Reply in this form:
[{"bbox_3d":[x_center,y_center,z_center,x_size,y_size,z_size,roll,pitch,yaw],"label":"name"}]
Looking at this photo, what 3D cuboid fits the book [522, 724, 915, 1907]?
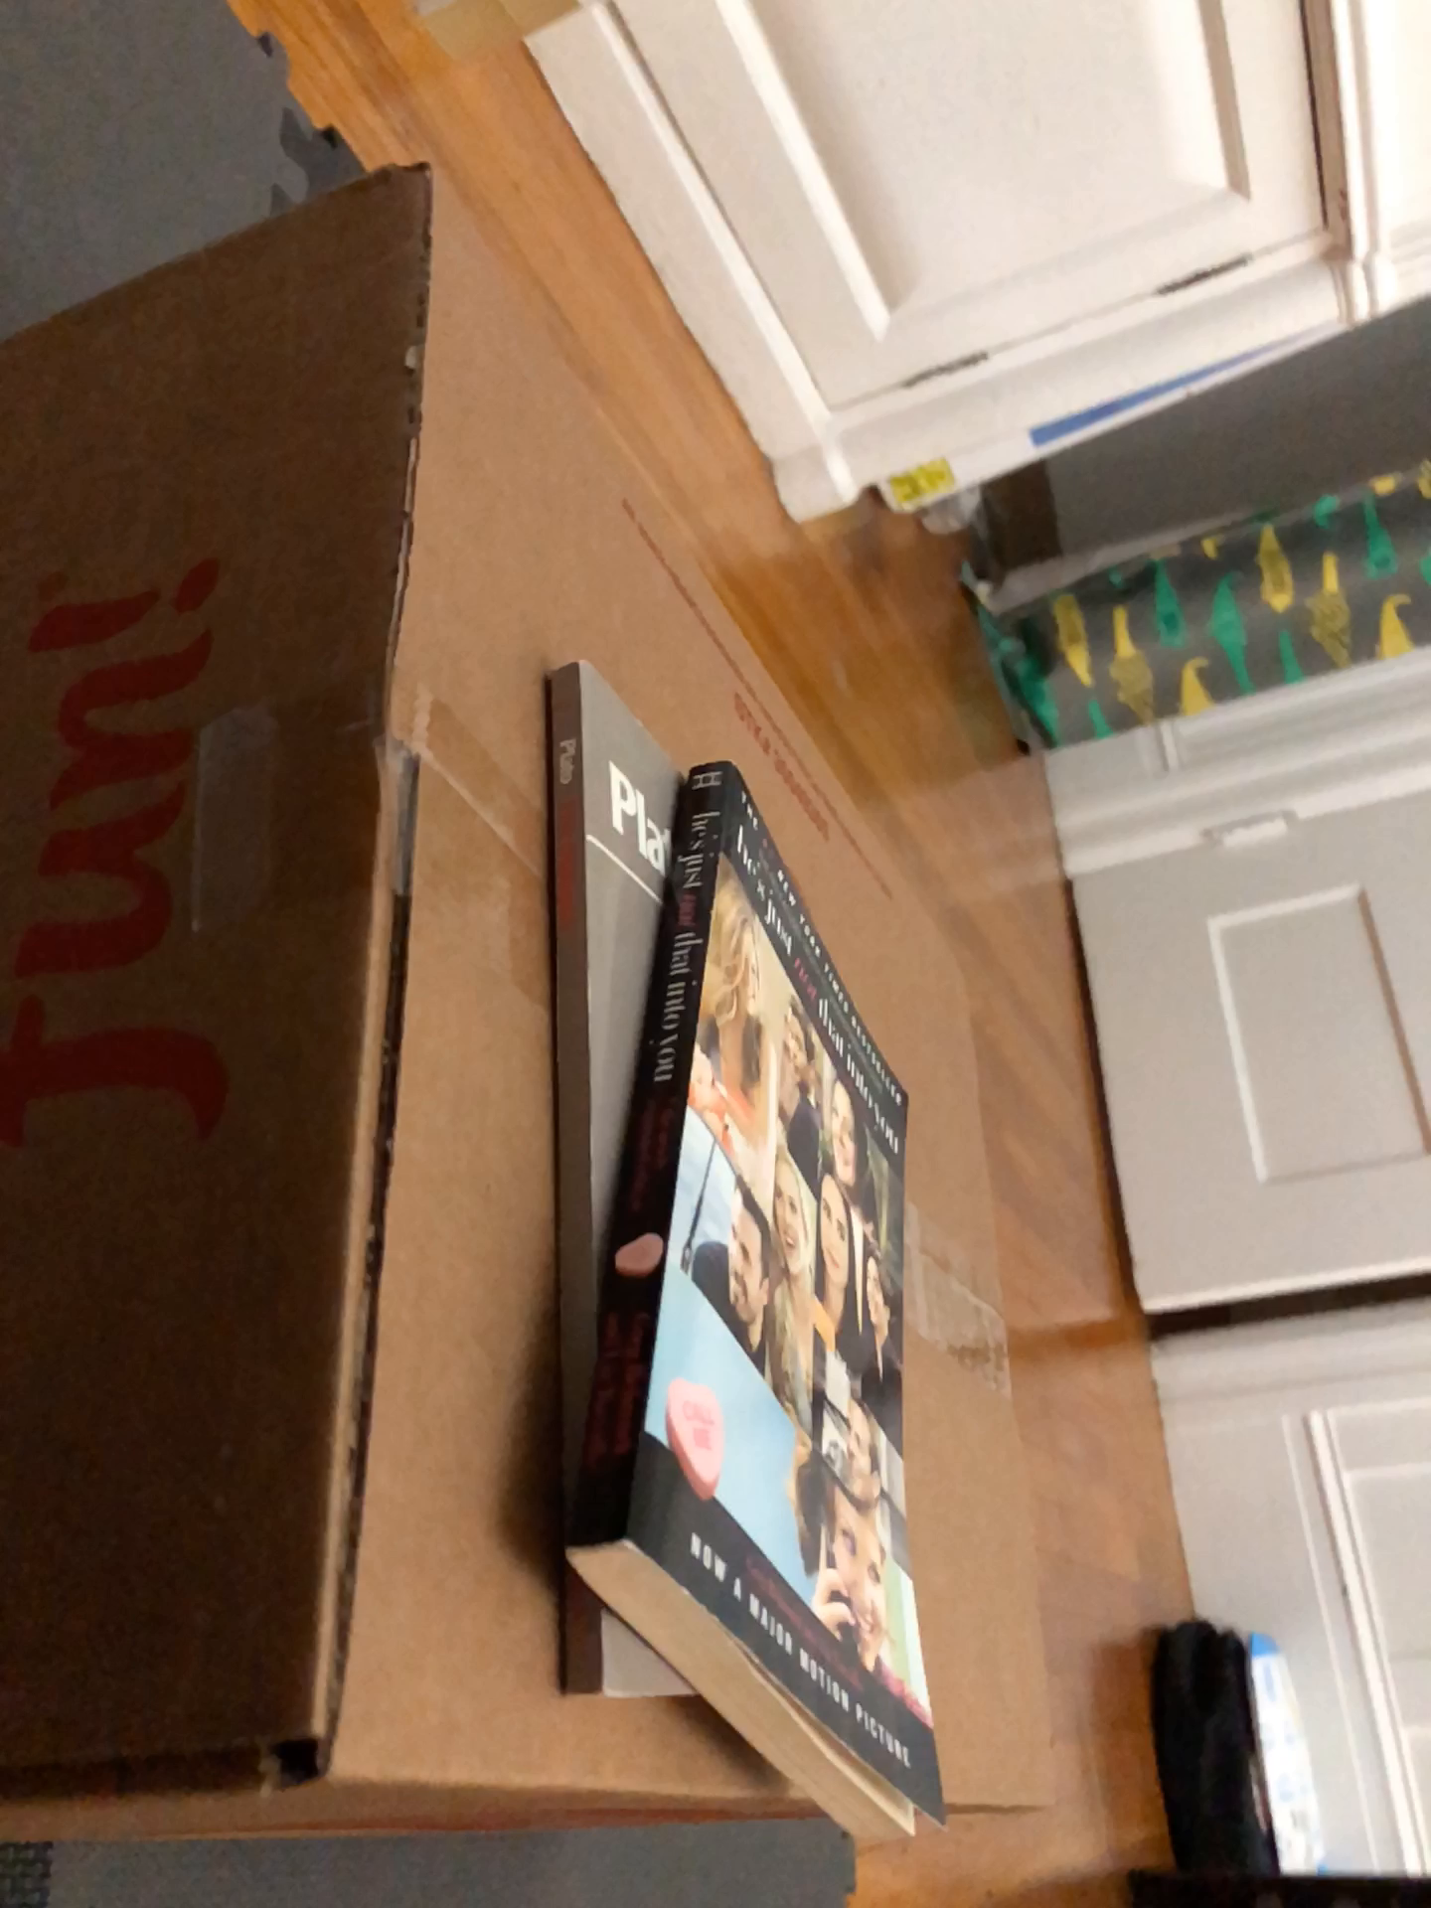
[{"bbox_3d":[0.016,0.076,0.358,0.231,0.010,0.150,-83,152,-44],"label":"book"}]
